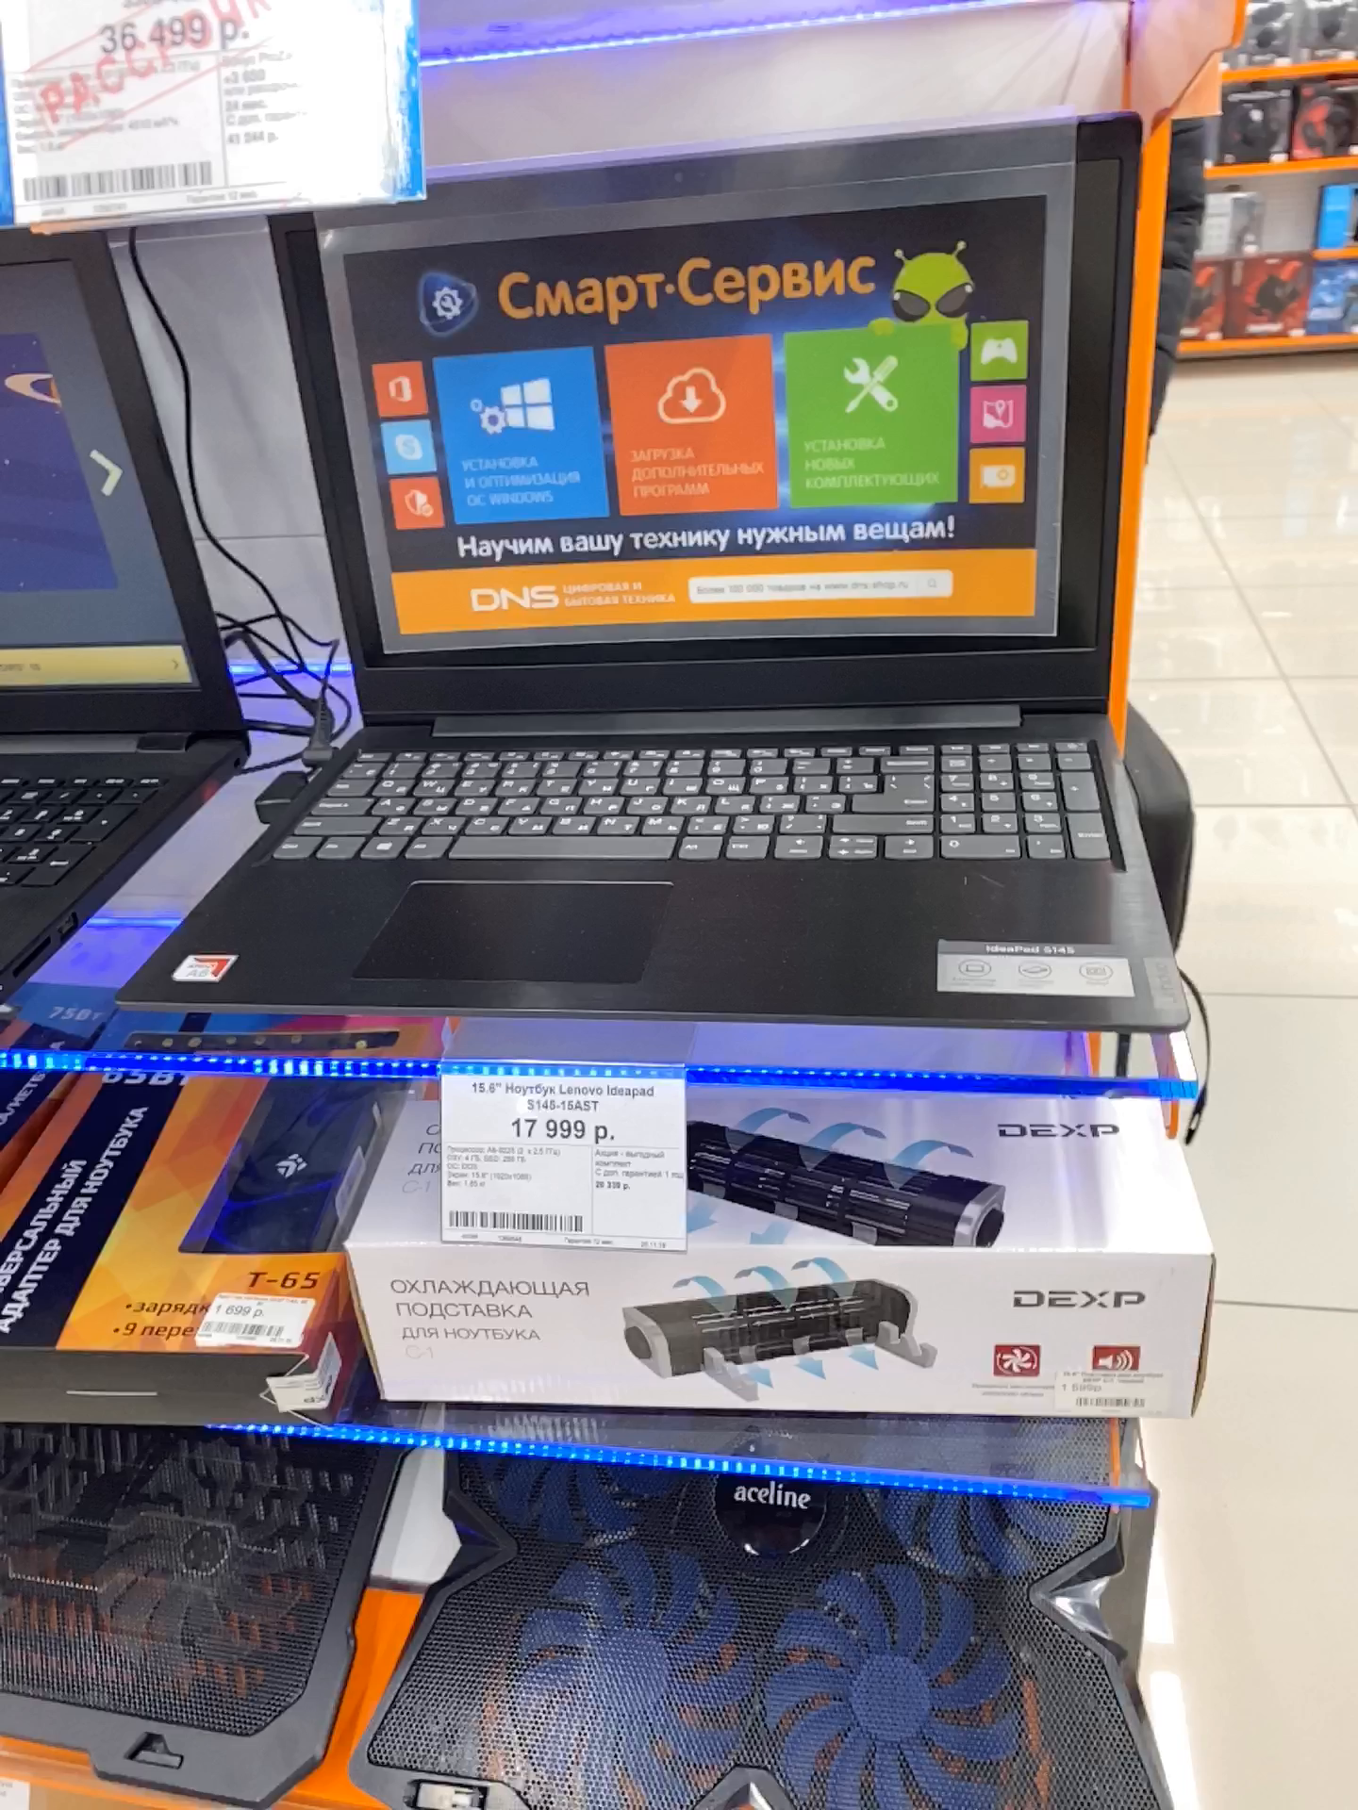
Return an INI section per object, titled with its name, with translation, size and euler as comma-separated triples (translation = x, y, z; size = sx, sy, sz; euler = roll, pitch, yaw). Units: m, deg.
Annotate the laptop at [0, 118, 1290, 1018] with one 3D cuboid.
[laptop]
translation = -0.010, -0.134, 0.510
size = 0.357, 0.236, 0.267
euler = 0, 30, 11
